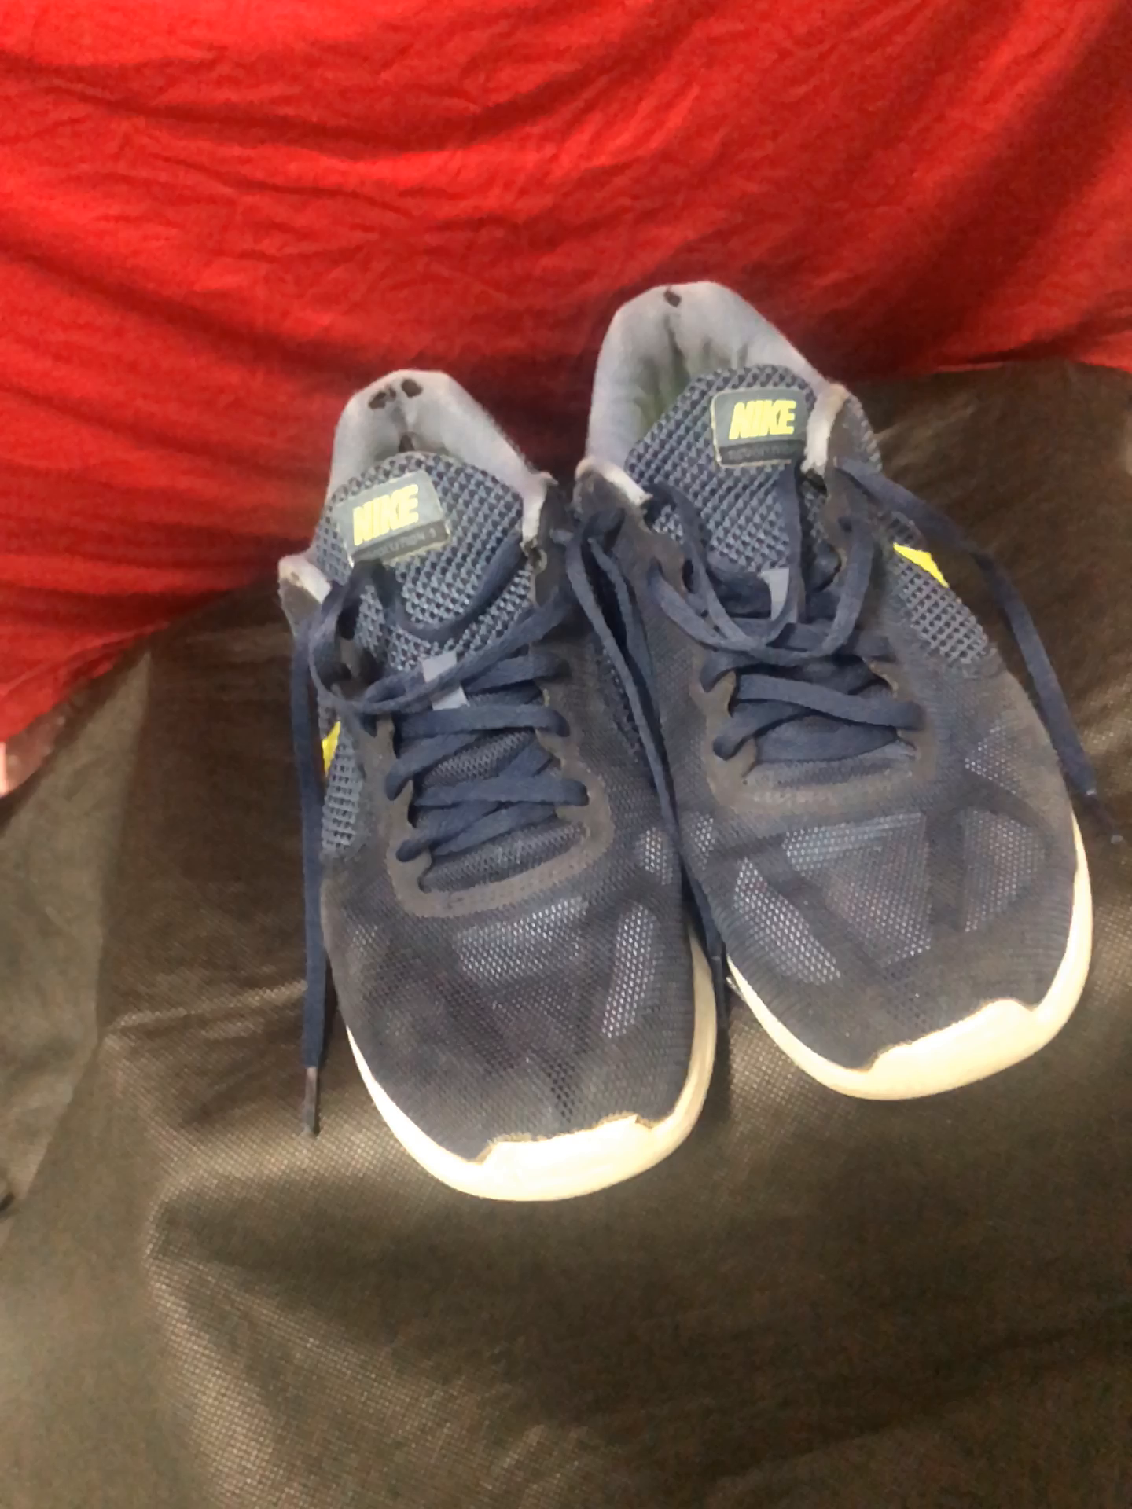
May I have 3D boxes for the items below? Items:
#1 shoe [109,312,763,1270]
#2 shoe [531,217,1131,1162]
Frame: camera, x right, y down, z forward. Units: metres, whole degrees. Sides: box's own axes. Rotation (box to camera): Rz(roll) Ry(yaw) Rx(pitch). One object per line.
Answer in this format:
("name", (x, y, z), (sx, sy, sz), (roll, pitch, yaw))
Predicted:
("shoe", (-0.034, -0.005, 0.341), (0.110, 0.099, 0.232), (-15, 46, 5))
("shoe", (0.070, -0.039, 0.355), (0.110, 0.089, 0.262), (-15, 46, 5))
